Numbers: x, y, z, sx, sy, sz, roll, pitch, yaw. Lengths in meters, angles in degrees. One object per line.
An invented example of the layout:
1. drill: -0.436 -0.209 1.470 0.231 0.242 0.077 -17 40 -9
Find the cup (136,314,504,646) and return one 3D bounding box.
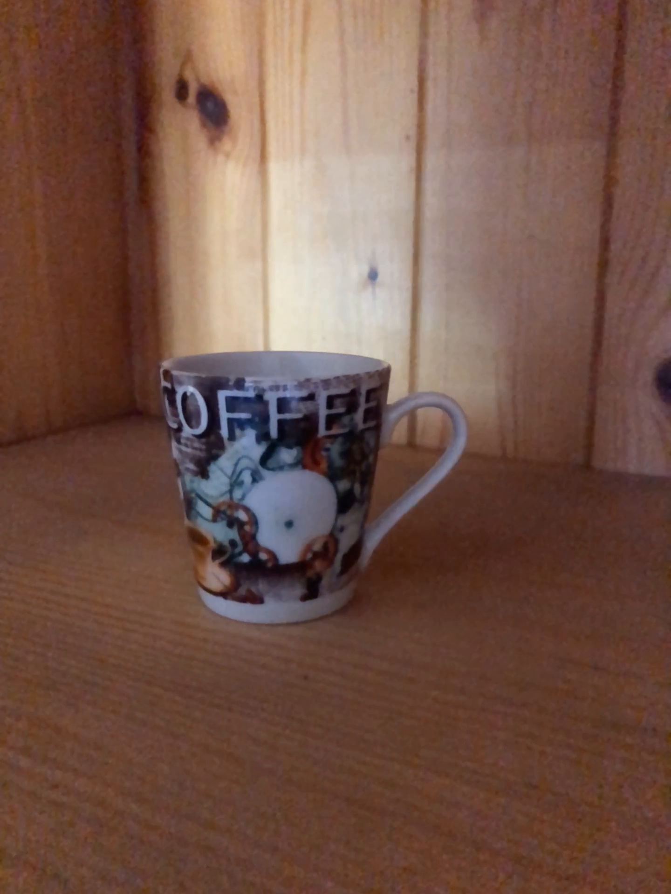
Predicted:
1. cup: -0.001 0.003 0.197 0.080 0.070 0.060 2 13 8
